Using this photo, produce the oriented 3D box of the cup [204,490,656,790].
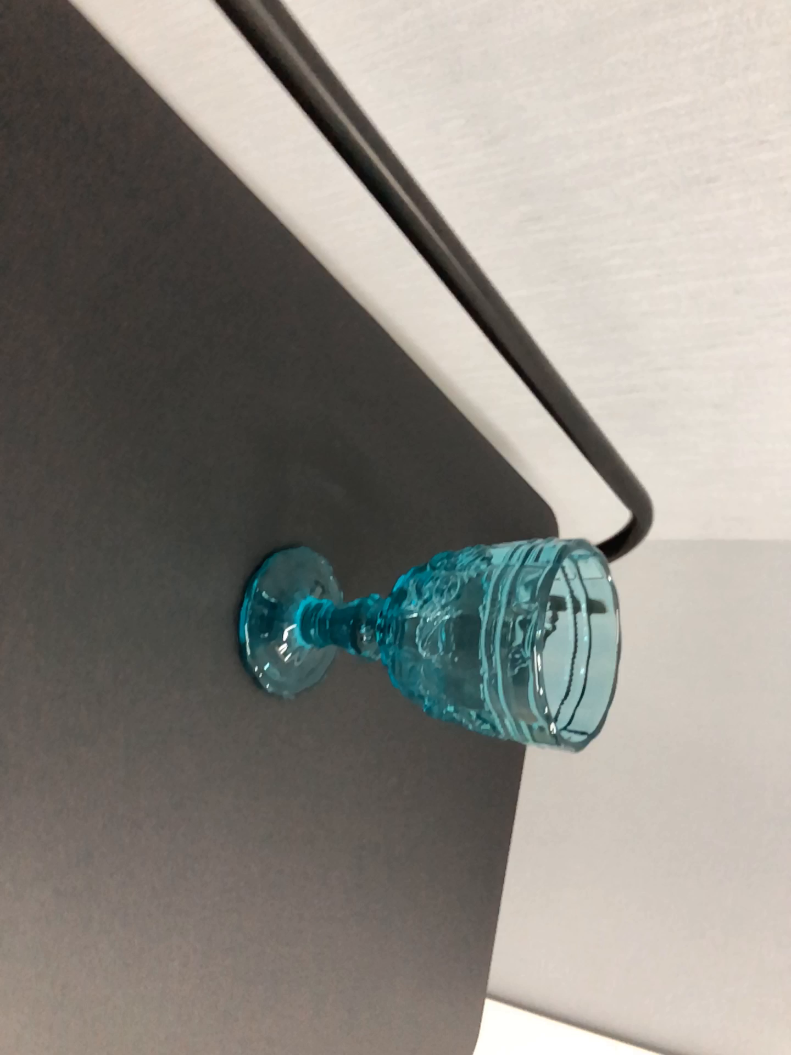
[{"bbox_3d":[0.016,0.048,0.390,0.085,0.164,0.095,39,58,-49],"label":"cup"}]
